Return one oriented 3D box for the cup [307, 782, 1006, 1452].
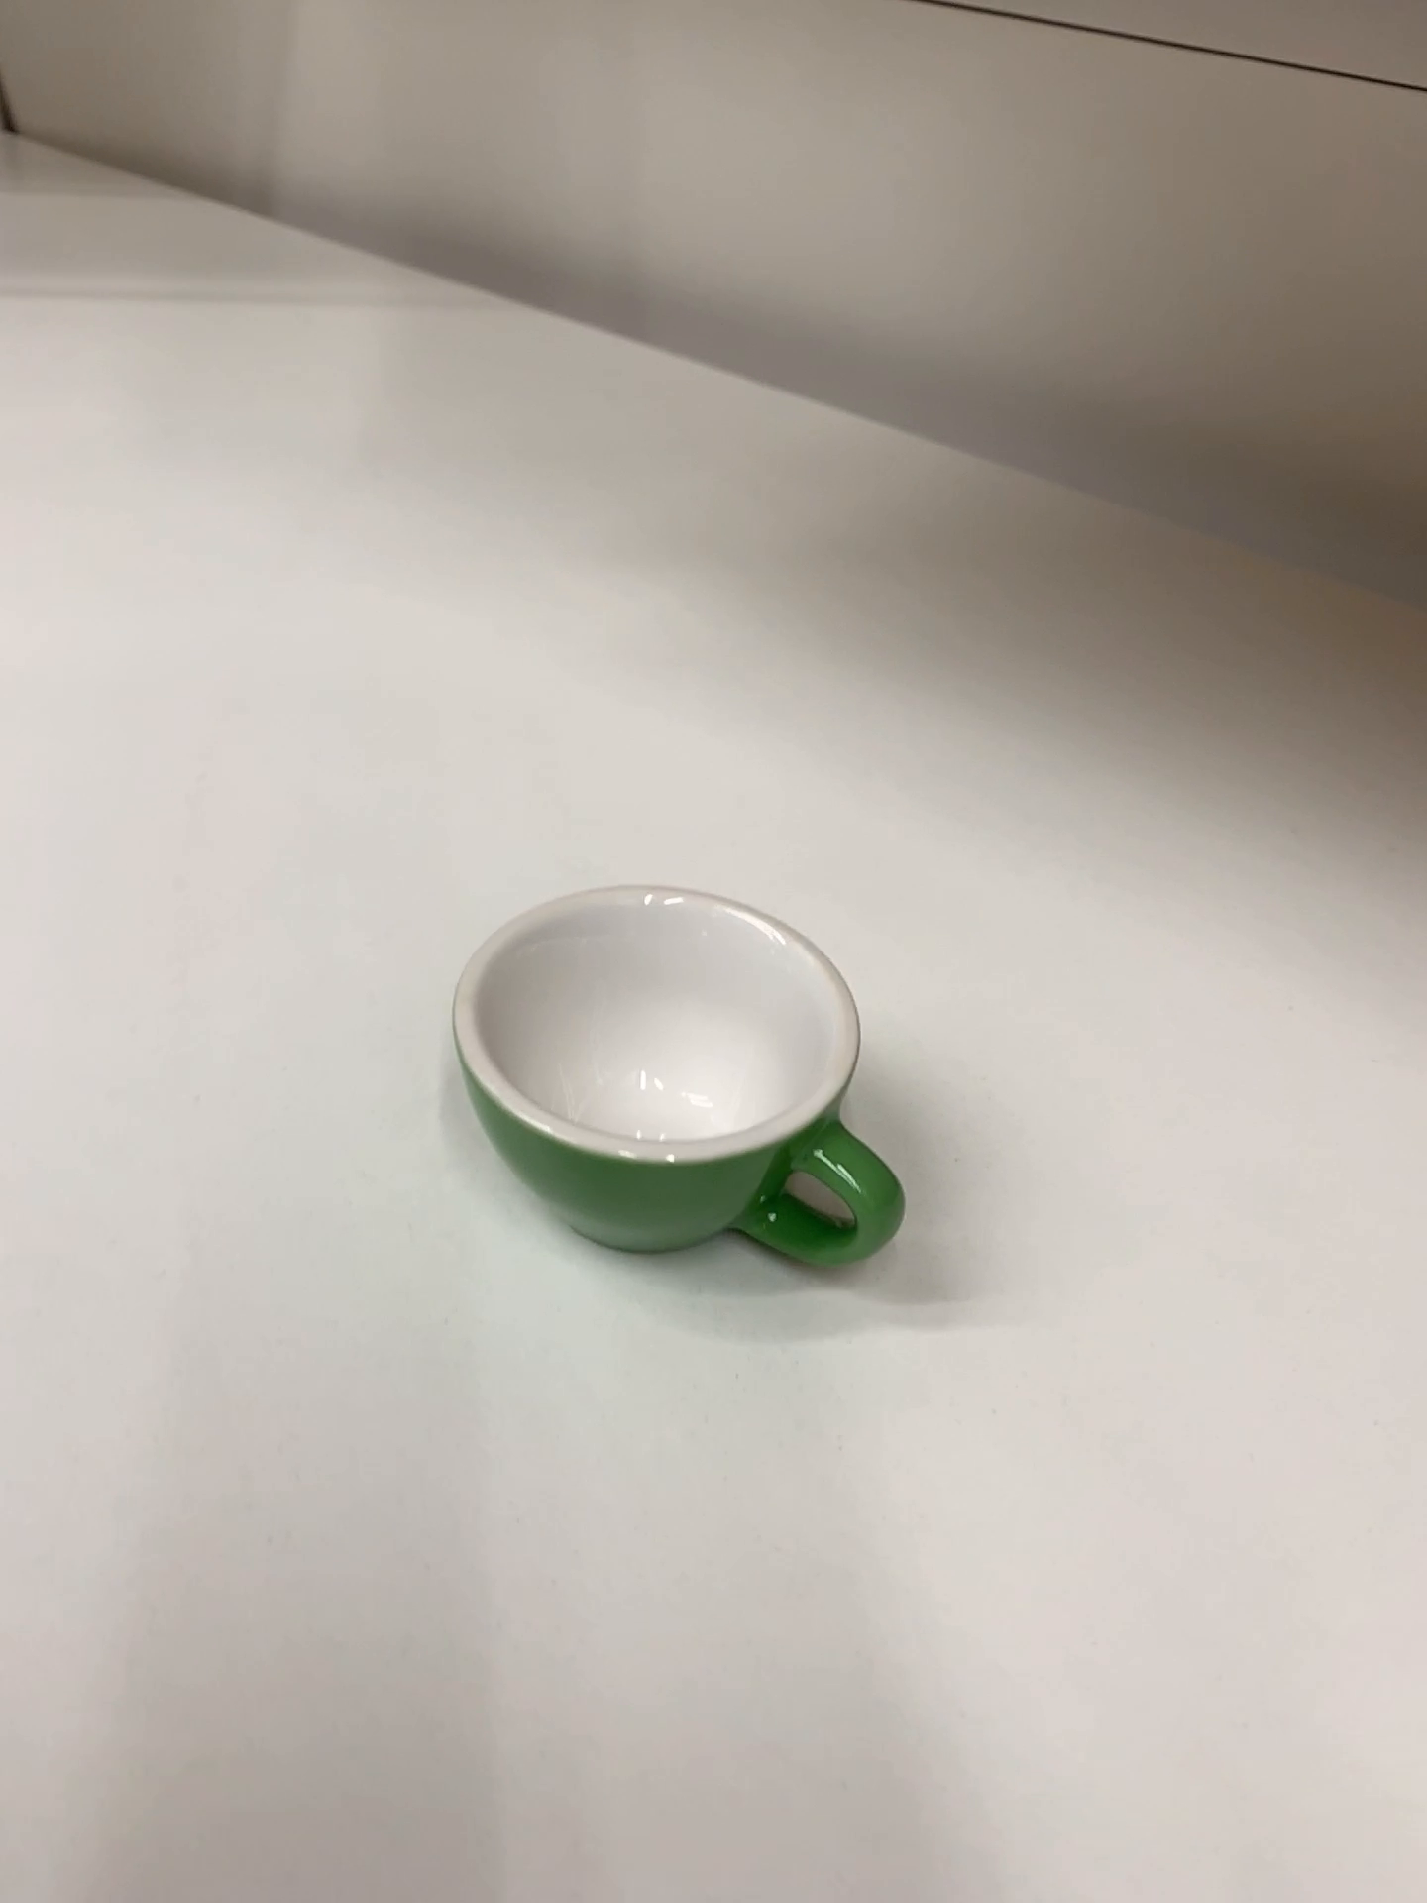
[{"bbox_3d":[-0.008,0.018,0.208,0.070,0.040,0.060,28,44,25],"label":"cup"}]
